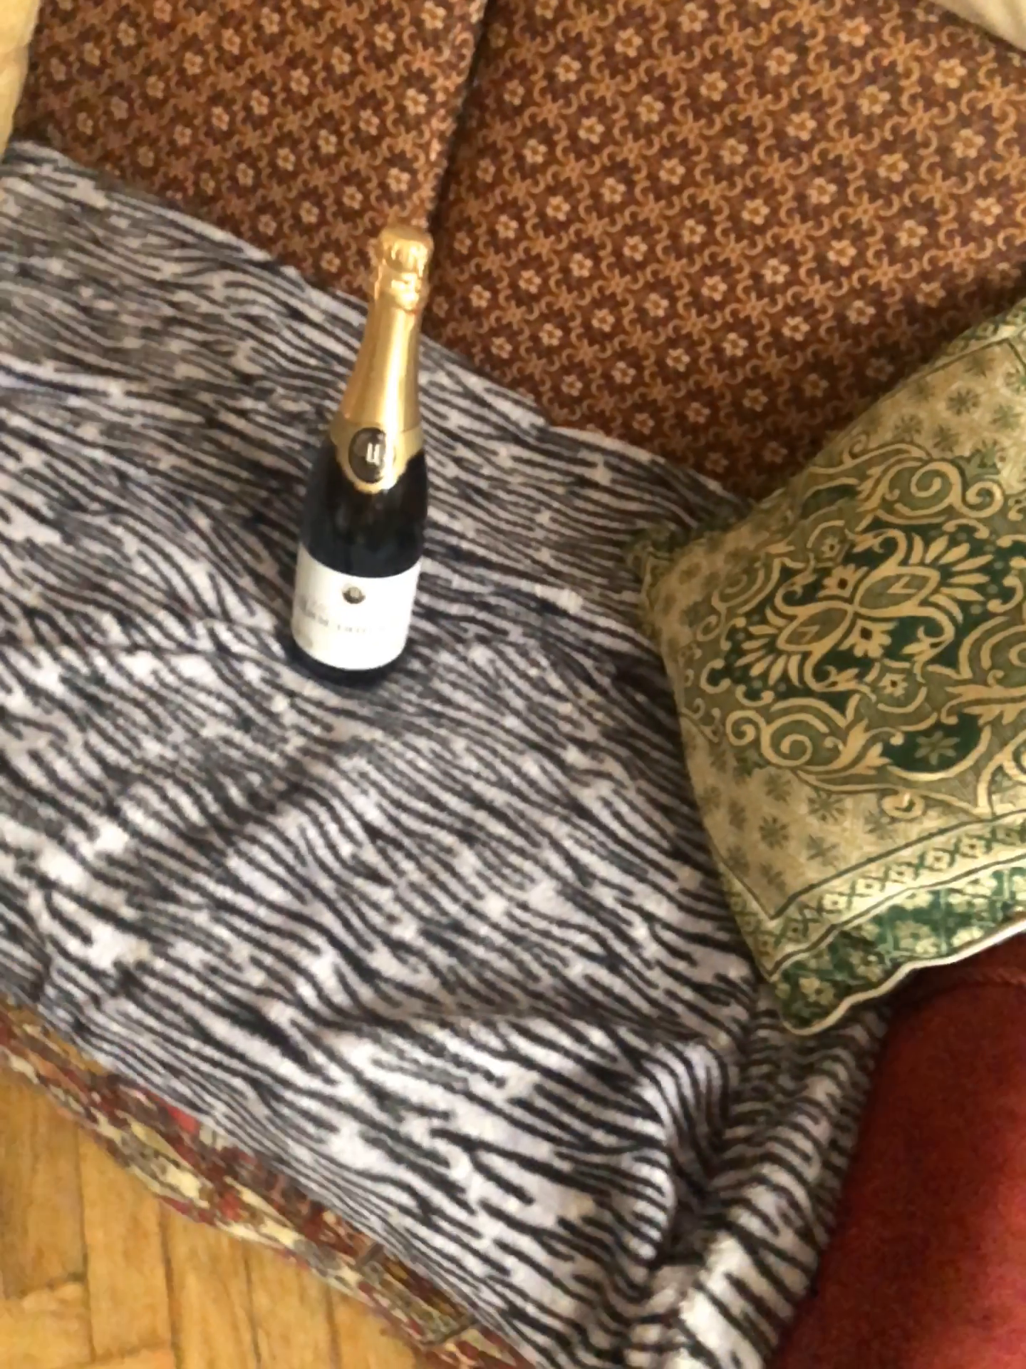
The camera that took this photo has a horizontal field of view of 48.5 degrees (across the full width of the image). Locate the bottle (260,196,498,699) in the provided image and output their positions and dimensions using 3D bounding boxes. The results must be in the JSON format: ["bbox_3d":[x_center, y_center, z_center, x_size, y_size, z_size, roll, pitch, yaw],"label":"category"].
[{"bbox_3d":[-0.089,-0.134,0.707,0.100,0.278,0.101,7,43,-7],"label":"bottle"}]
